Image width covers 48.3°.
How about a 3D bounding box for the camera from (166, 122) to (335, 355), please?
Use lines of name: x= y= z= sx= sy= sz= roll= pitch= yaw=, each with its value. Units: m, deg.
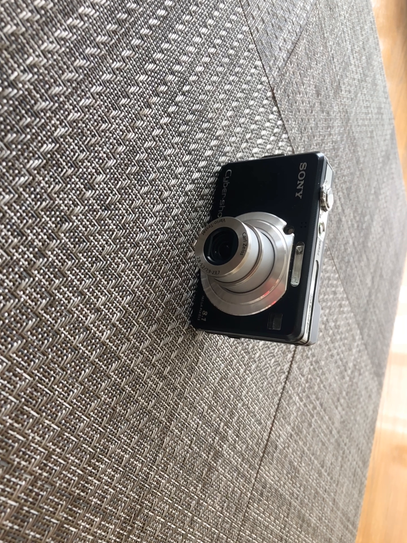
camera: x=0.026 y=-0.013 z=0.221 sx=0.049 sy=0.052 sz=0.095 roll=29 pitch=67 yaw=-53
